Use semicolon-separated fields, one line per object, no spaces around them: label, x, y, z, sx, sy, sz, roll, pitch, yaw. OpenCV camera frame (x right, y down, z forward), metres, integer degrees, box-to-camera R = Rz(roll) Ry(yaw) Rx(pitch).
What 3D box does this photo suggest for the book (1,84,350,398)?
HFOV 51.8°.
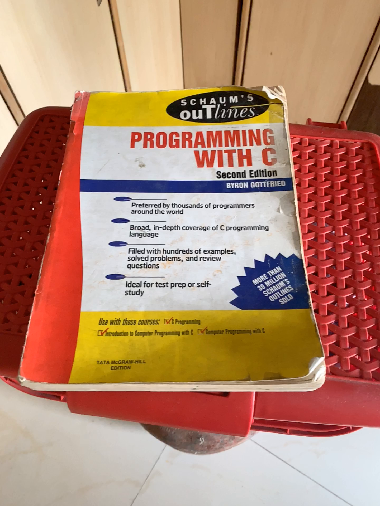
book;-0.007;-0.024;0.305;0.200;0.050;0.251;0;62;2
